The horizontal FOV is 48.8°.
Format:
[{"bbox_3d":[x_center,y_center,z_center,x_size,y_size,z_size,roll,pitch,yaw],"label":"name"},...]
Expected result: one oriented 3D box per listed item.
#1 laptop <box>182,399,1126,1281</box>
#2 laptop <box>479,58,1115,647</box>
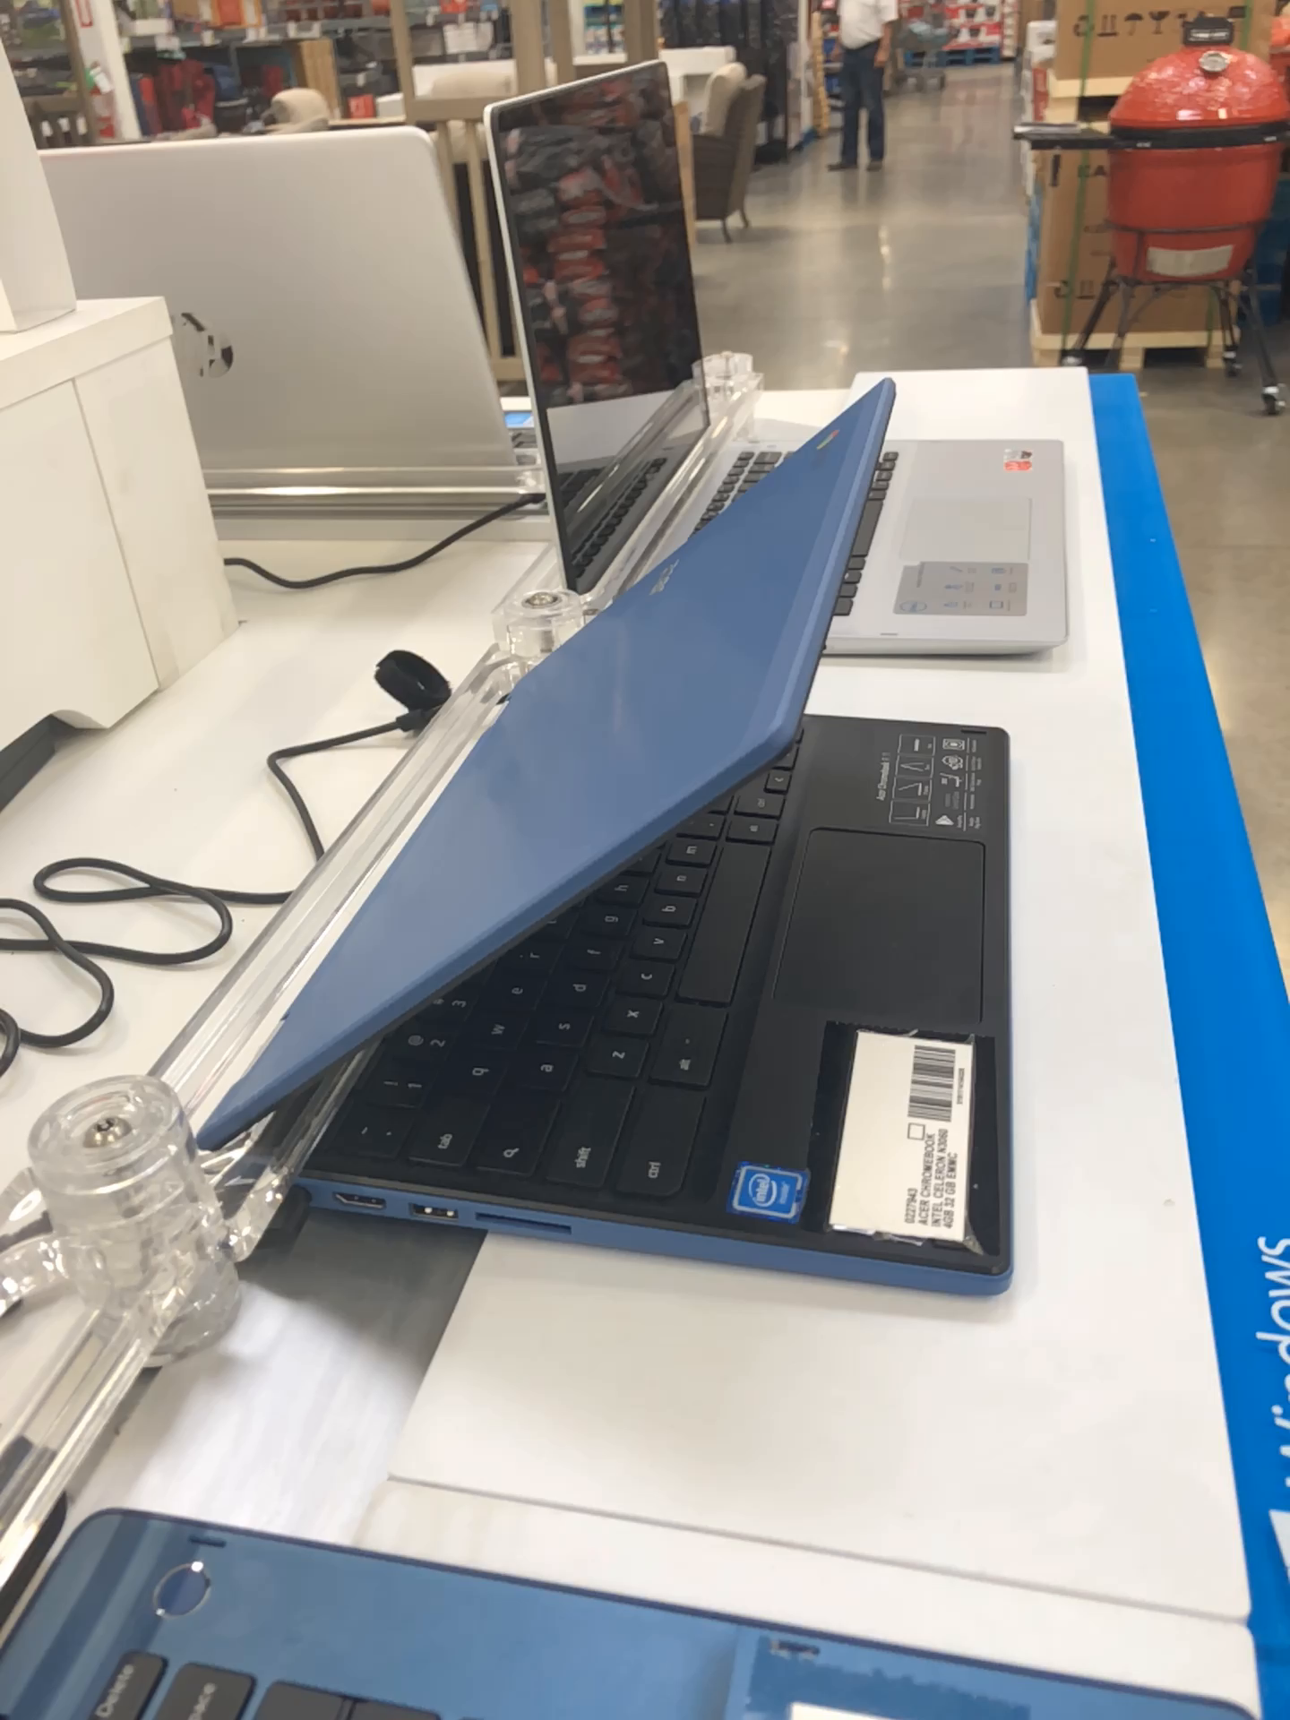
[{"bbox_3d":[0.025,-0.038,0.423,0.184,0.128,0.281,3,31,10],"label":"laptop"},{"bbox_3d":[0.100,-0.290,0.750,0.245,0.216,0.357,5,32,12],"label":"laptop"}]
